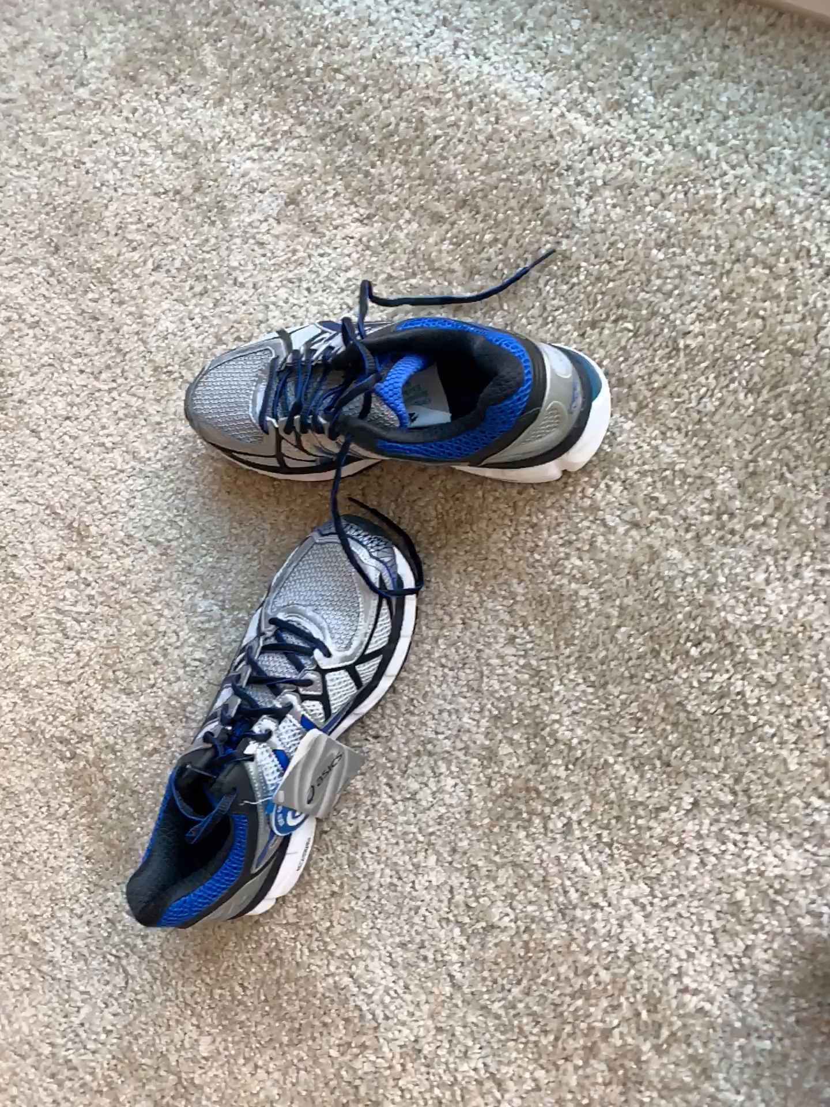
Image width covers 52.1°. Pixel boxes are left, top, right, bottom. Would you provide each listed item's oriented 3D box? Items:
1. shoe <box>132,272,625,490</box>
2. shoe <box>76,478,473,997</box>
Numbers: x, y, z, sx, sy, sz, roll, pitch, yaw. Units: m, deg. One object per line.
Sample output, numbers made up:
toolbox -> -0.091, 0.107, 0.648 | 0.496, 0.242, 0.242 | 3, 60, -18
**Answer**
shoe -> -0.029, -0.104, 0.574 | 0.311, 0.110, 0.100 | 3, 85, 26
shoe -> -0.088, 0.112, 0.548 | 0.100, 0.110, 0.290 | 29, 97, 25
